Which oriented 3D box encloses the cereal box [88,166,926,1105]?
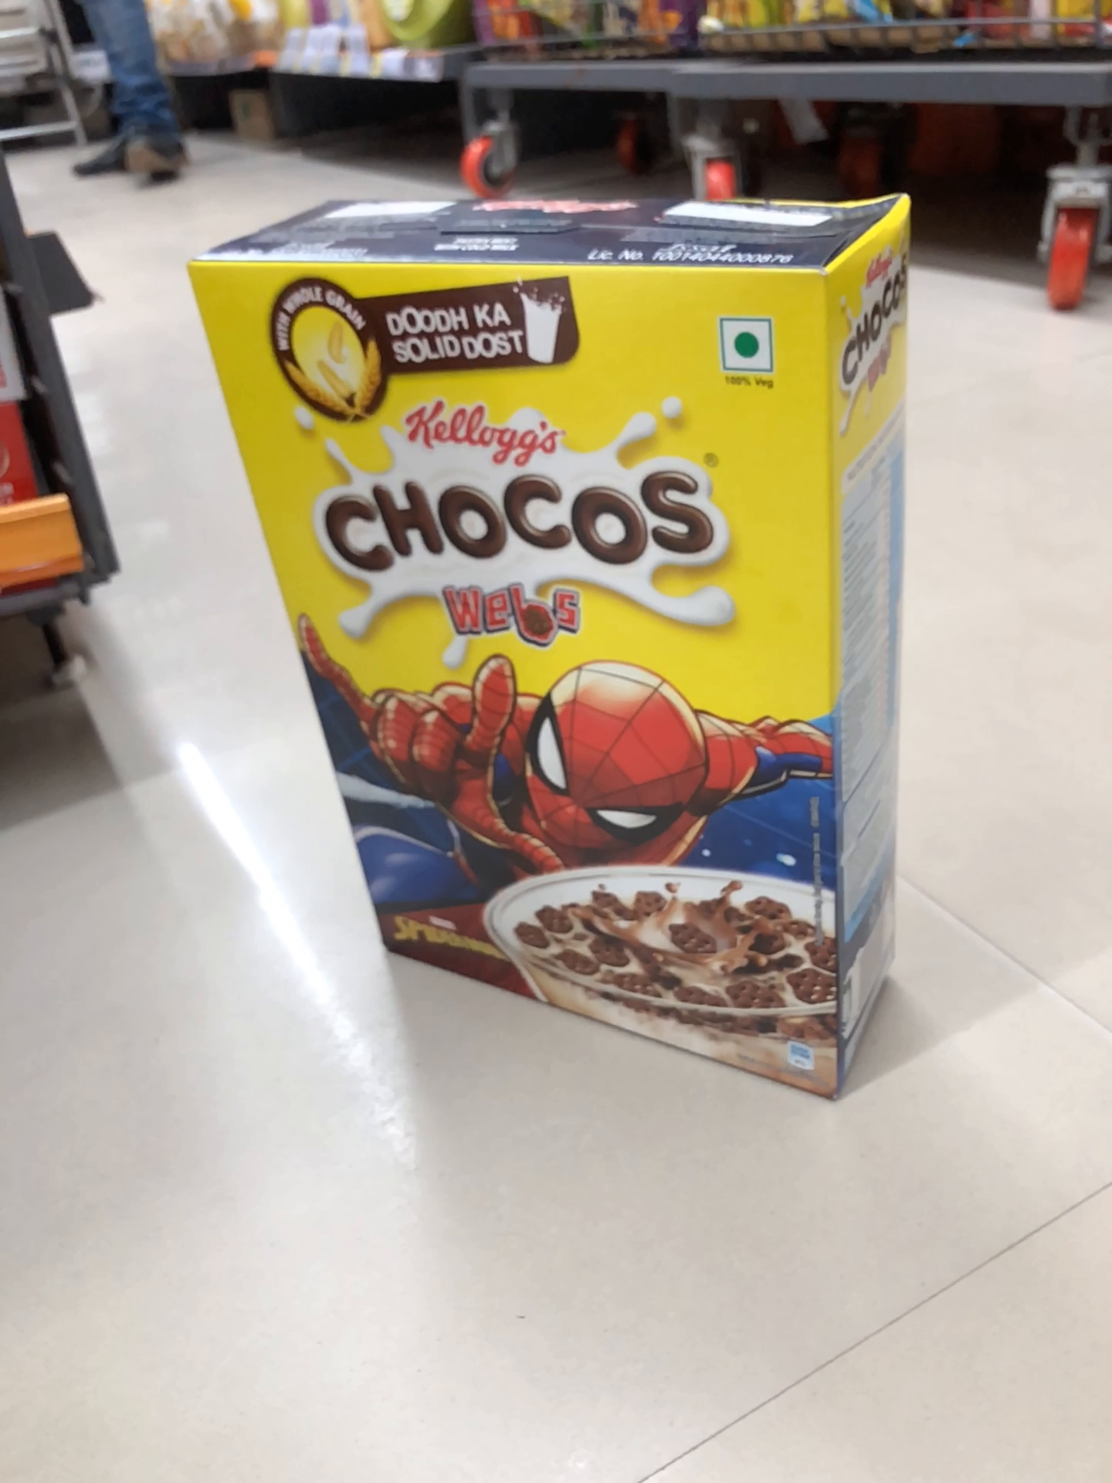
[{"bbox_3d":[-0.003,-0.032,0.360,0.190,0.229,0.080,13,39,29],"label":"cereal box"}]
